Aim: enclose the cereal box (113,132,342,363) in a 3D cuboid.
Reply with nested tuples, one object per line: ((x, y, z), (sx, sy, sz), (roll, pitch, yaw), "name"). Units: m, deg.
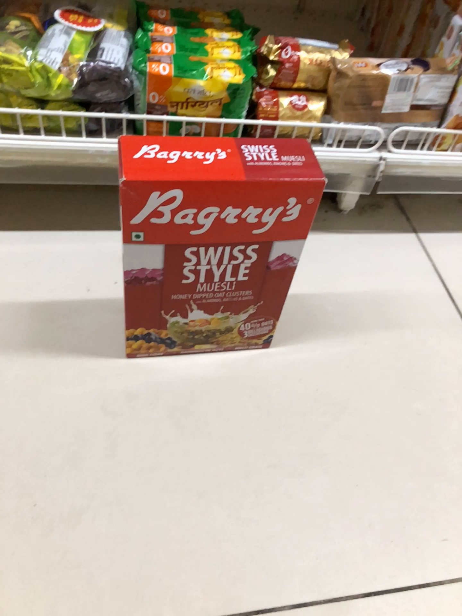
((-0.020, -0.048, 0.532), (0.190, 0.258, 0.060), (-3, 50, -13), "cereal box")
